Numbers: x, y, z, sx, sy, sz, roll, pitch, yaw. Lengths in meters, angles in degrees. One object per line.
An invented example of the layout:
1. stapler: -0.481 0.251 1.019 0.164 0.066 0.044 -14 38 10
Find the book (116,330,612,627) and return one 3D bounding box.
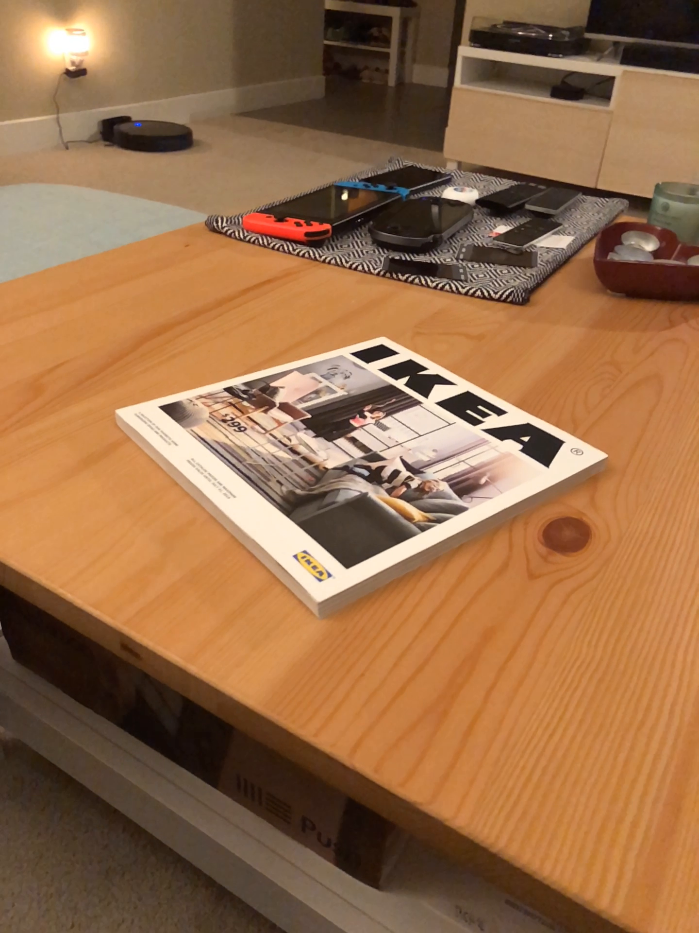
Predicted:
1. book: 0.006 -0.016 0.468 0.216 0.015 0.211 -22 41 -33
